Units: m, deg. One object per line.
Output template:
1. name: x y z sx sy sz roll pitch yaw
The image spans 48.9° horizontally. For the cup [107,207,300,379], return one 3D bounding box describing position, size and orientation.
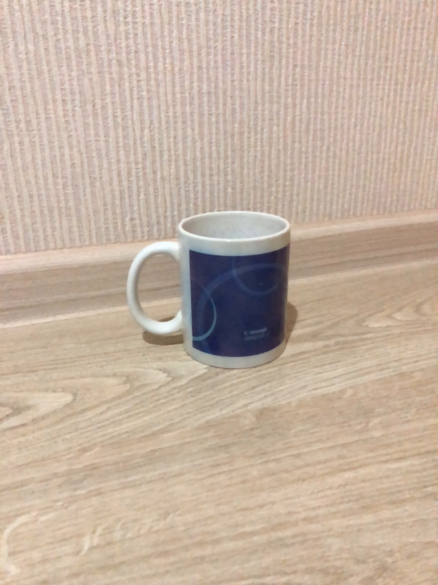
1. cup: -0.012 -0.005 0.366 0.123 0.099 0.094 -2 21 -4
